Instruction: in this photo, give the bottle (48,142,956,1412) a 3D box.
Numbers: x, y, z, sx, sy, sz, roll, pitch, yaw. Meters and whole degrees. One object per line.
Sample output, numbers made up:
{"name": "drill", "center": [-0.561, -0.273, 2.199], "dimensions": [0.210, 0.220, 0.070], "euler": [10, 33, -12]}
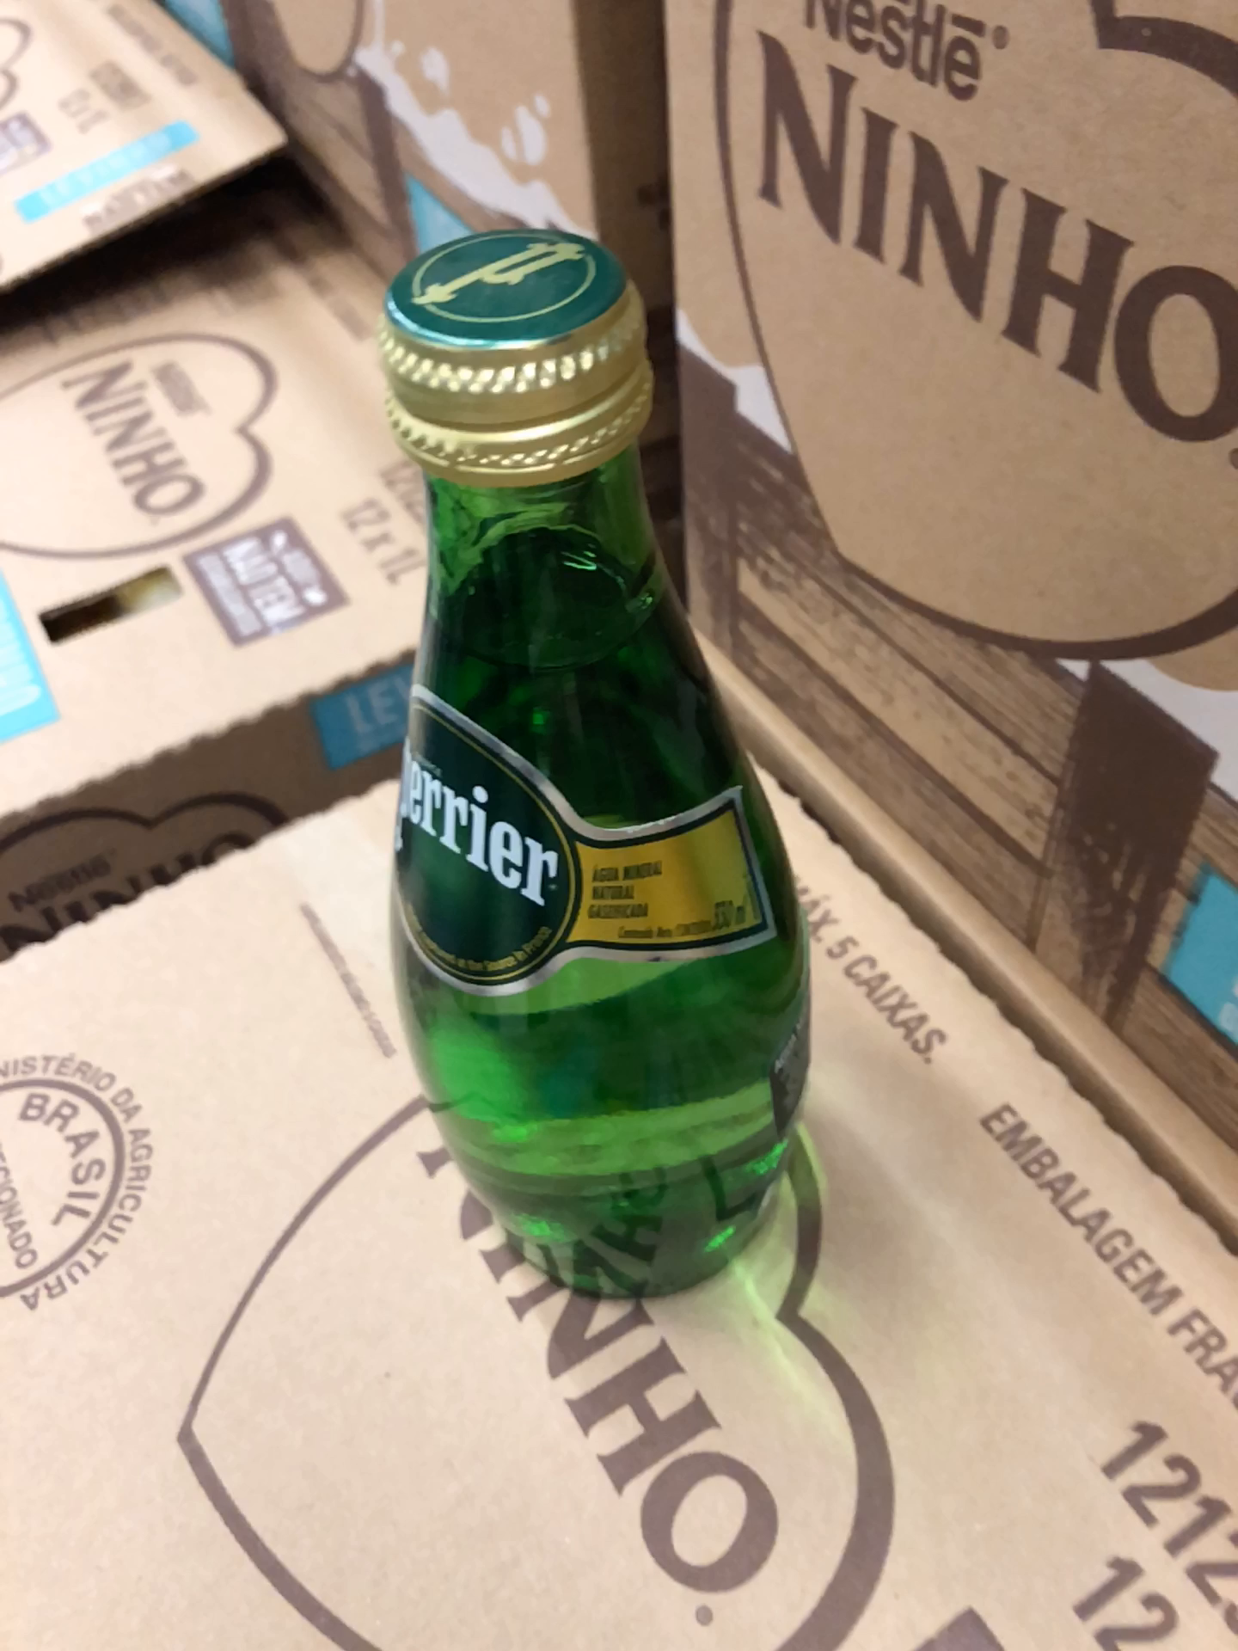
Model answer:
{"name": "bottle", "center": [-0.006, 0.009, 0.206], "dimensions": [0.070, 0.179, 0.060], "euler": [29, 57, 28]}
